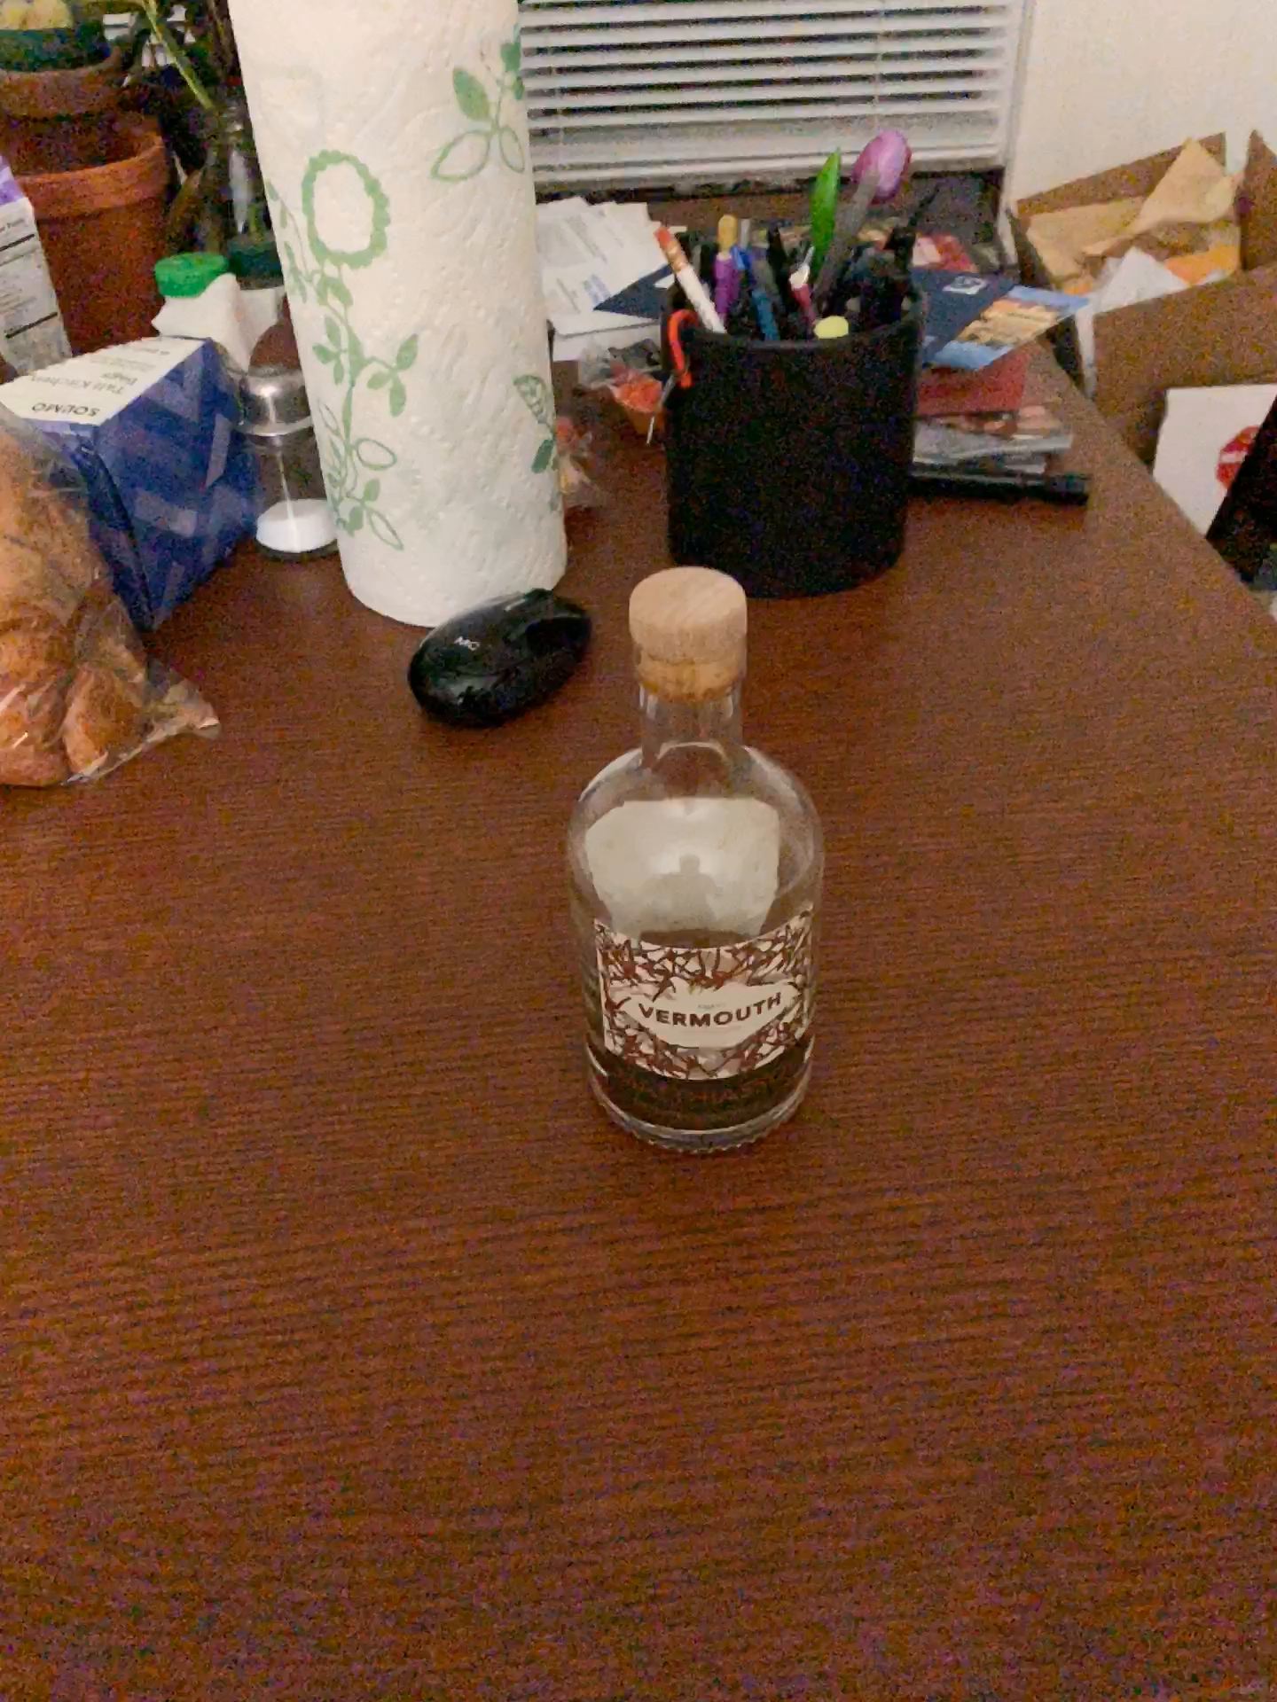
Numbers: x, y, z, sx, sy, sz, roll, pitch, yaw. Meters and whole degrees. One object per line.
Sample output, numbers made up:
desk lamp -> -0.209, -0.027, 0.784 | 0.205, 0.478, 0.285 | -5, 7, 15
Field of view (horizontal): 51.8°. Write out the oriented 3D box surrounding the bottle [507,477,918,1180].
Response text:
bottle -> 0.018, 0.001, 0.385 | 0.090, 0.189, 0.081 | -6, 40, -3
